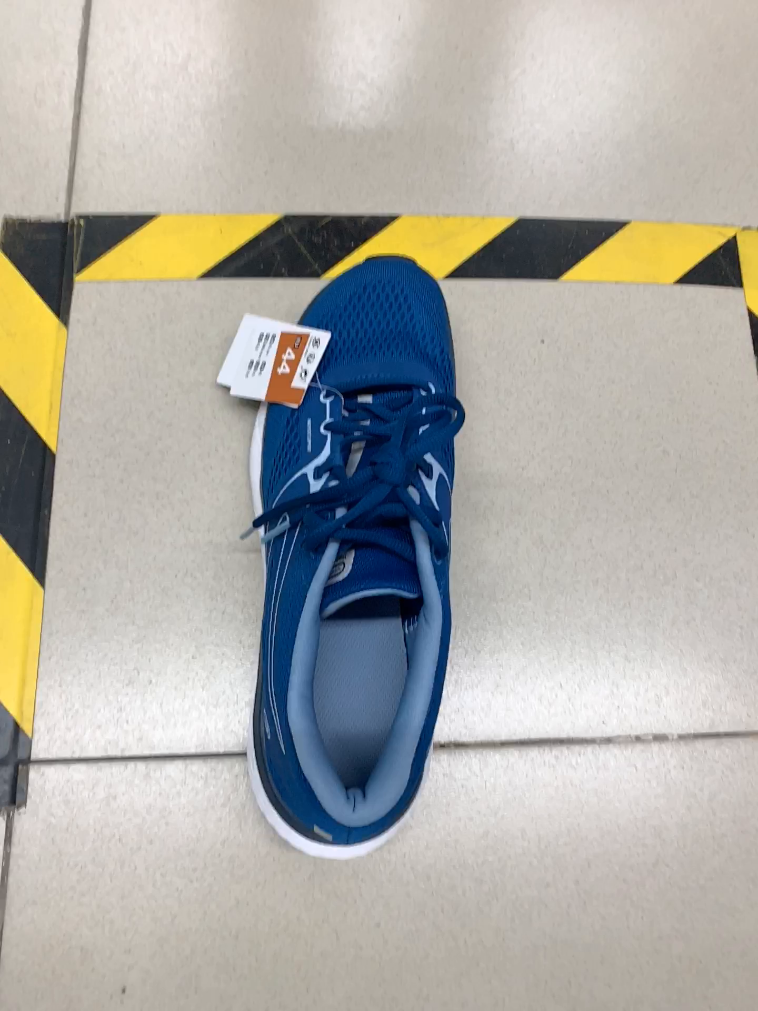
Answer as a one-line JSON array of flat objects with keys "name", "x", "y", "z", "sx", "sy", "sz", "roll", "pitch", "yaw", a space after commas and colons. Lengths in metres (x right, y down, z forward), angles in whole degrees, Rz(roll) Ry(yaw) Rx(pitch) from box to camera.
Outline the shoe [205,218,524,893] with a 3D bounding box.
[{"name": "shoe", "x": -0.005, "y": 0.012, "z": 0.356, "sx": 0.110, "sy": 0.070, "sz": 0.290, "roll": 3, "pitch": 67, "yaw": -4}]
